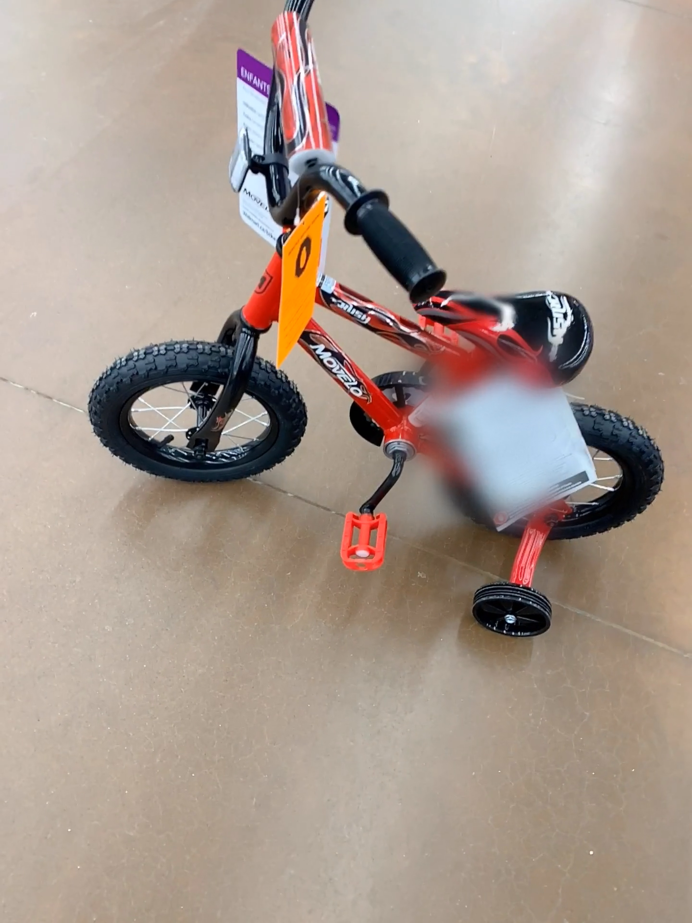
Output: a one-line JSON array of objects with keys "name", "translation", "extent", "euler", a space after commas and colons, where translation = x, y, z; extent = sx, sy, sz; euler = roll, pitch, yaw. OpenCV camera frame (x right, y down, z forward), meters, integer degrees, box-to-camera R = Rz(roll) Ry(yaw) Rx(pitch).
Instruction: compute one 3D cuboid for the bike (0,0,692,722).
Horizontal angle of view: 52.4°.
[{"name": "bike", "translation": [0.080, -0.108, 0.705], "extent": [0.703, 0.627, 0.459], "euler": [9, 52, -6]}]
